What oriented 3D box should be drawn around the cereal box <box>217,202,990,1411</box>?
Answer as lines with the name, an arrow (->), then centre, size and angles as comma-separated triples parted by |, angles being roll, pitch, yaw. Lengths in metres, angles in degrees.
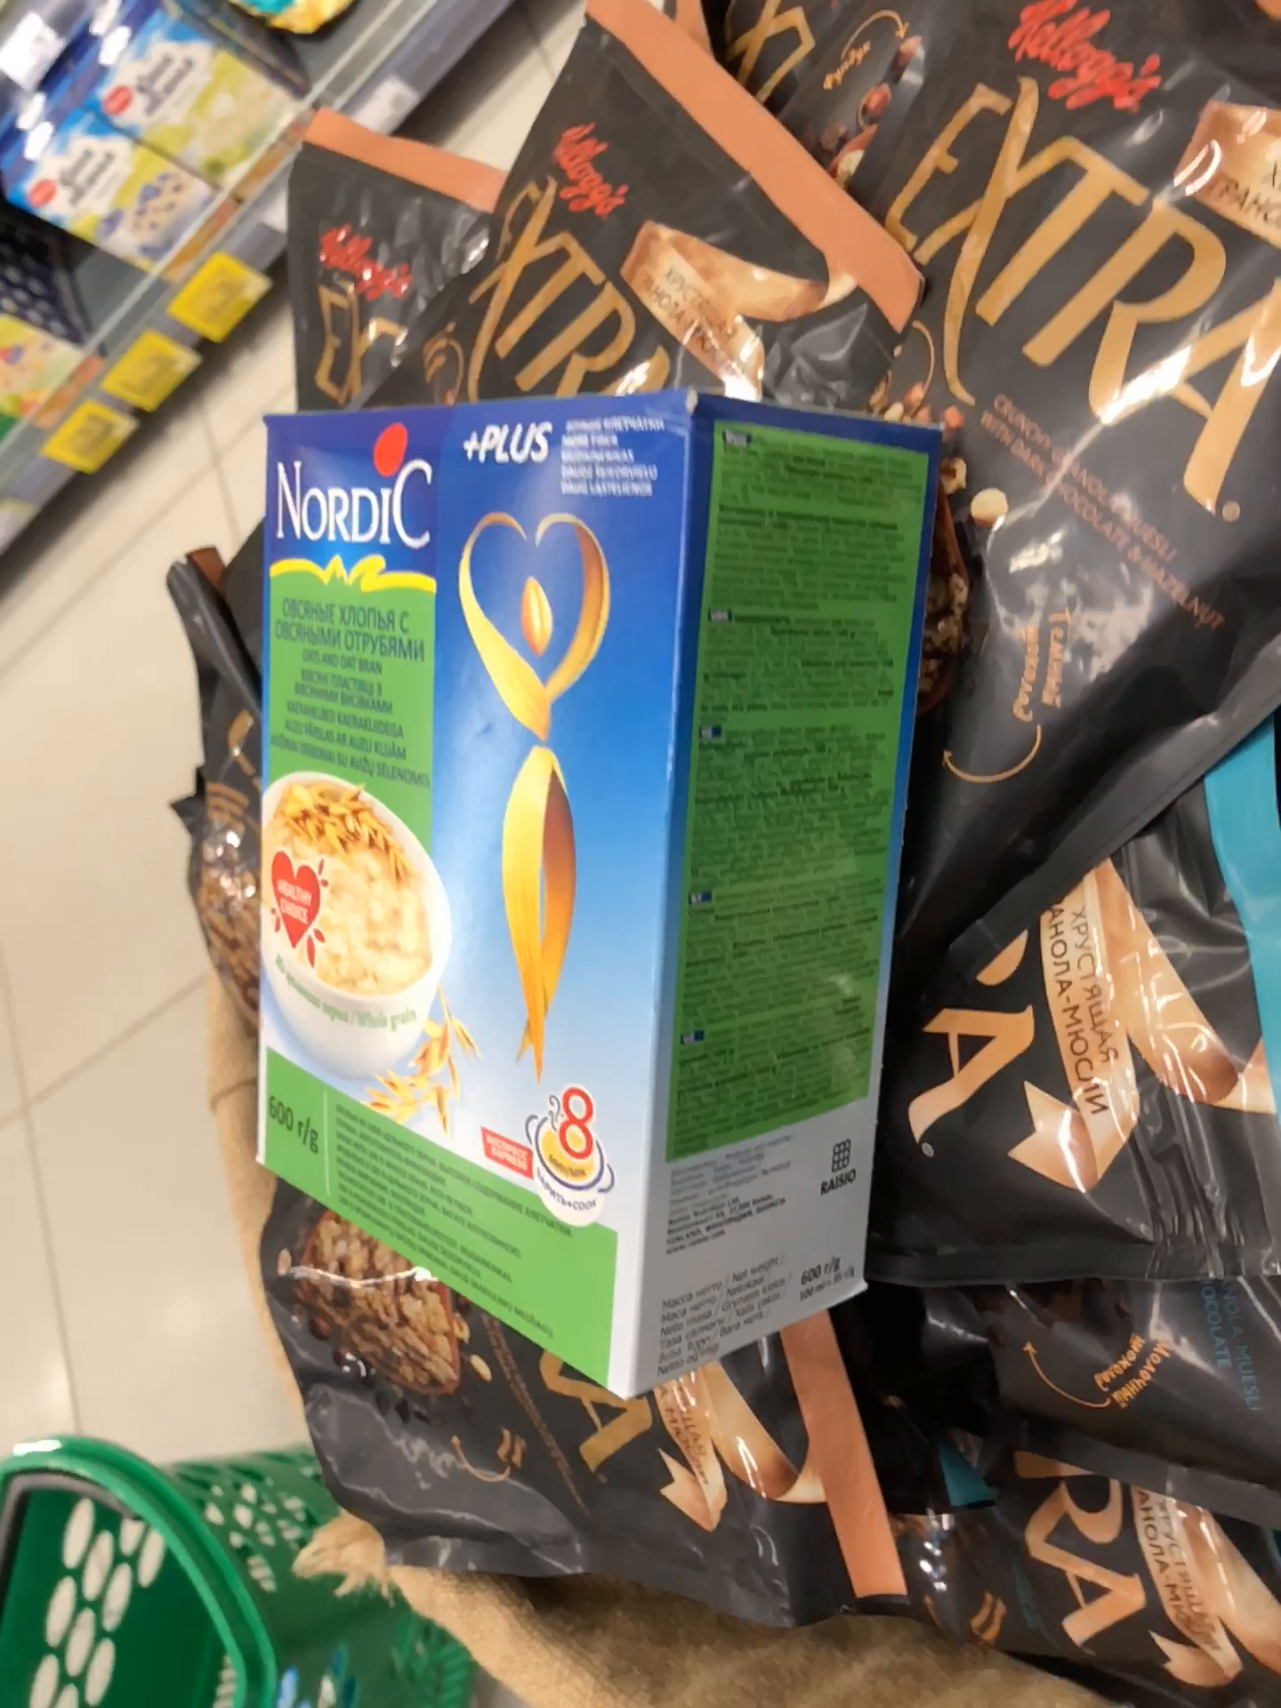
cereal box -> -0.022, -0.018, 0.328 | 0.161, 0.080, 0.210 | 14, 105, 45
